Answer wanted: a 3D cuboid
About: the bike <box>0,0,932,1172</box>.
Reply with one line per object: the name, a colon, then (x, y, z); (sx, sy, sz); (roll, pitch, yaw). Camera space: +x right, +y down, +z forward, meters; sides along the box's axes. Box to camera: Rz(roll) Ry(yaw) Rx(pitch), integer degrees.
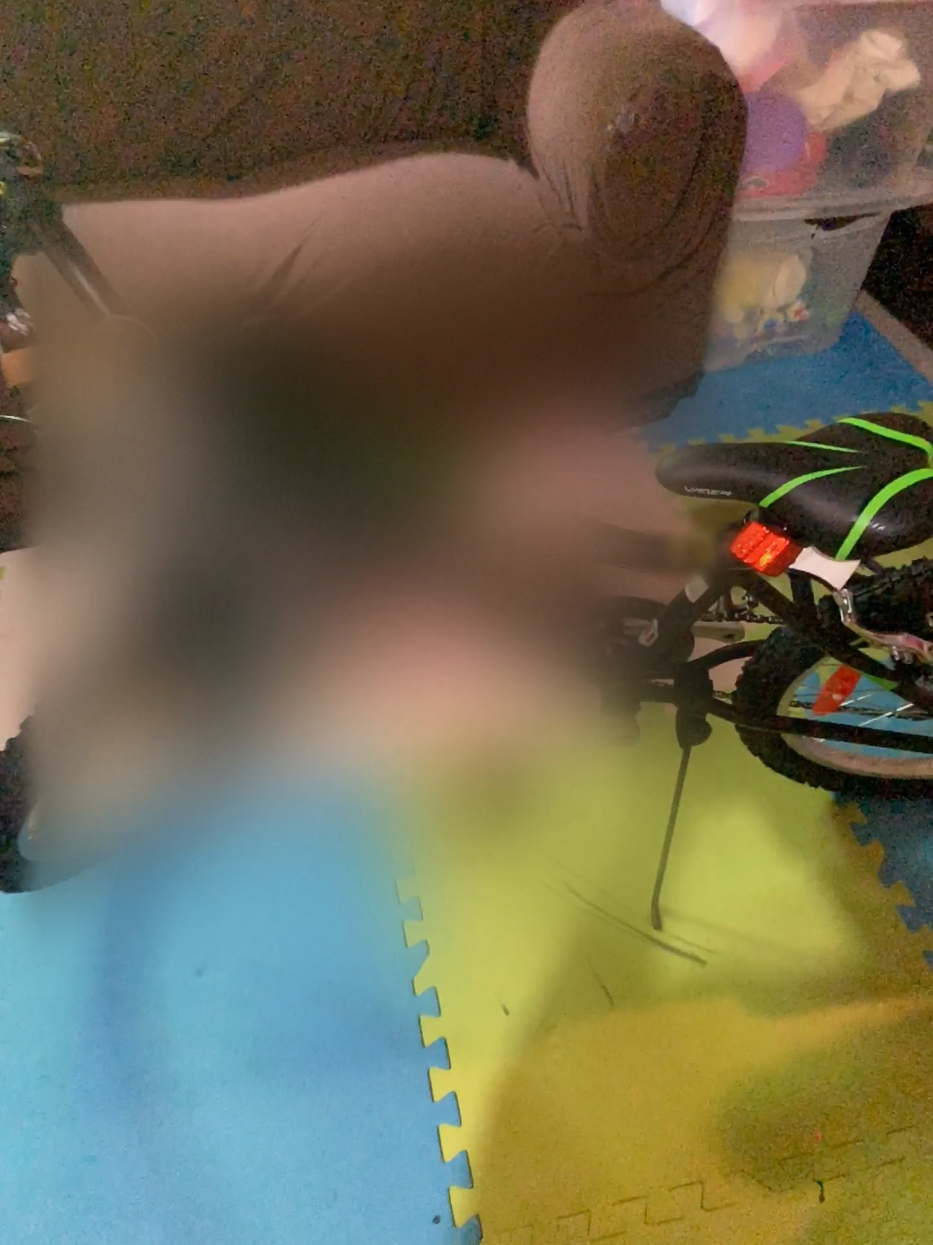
bike: (0.116, 0.001, 0.883); (1.268, 0.841, 0.536); (-8, 46, 0)
